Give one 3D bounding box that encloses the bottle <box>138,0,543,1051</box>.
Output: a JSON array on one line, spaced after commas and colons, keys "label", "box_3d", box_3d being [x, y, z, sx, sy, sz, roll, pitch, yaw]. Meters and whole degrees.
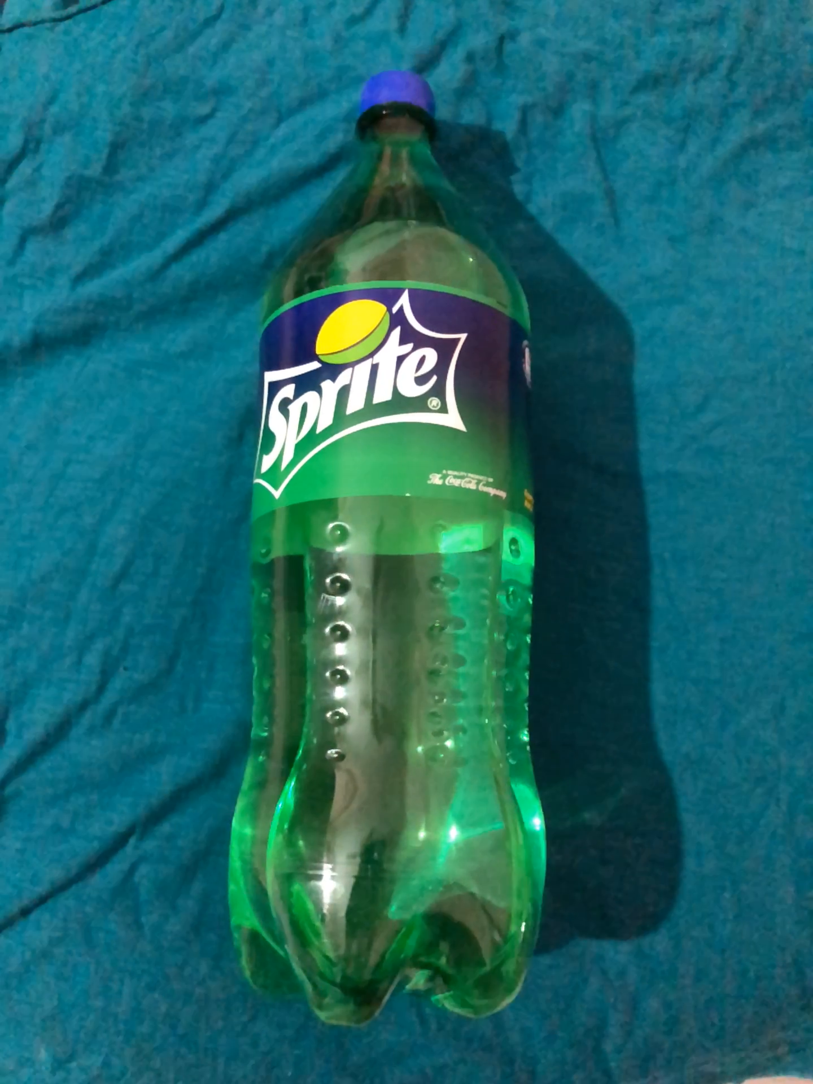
[{"label": "bottle", "box_3d": [-0.013, -0.024, 0.305, 0.110, 0.070, 0.330, -1, 79, 9]}]
